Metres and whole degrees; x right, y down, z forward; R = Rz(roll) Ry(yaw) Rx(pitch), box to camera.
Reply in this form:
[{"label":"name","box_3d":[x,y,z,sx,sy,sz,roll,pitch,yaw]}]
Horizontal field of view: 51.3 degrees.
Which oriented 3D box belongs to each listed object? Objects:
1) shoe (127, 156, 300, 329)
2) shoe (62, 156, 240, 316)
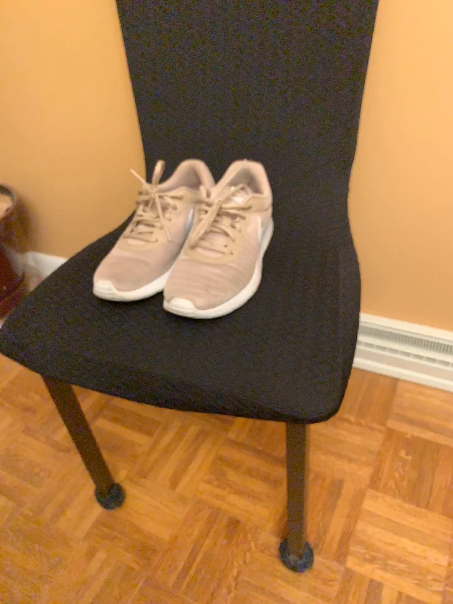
[{"label":"shoe","box_3d":[0.000,-0.093,0.617,0.110,0.089,0.261,12,42,24]},{"label":"shoe","box_3d":[-0.090,-0.109,0.677,0.110,0.089,0.271,12,42,24]}]
